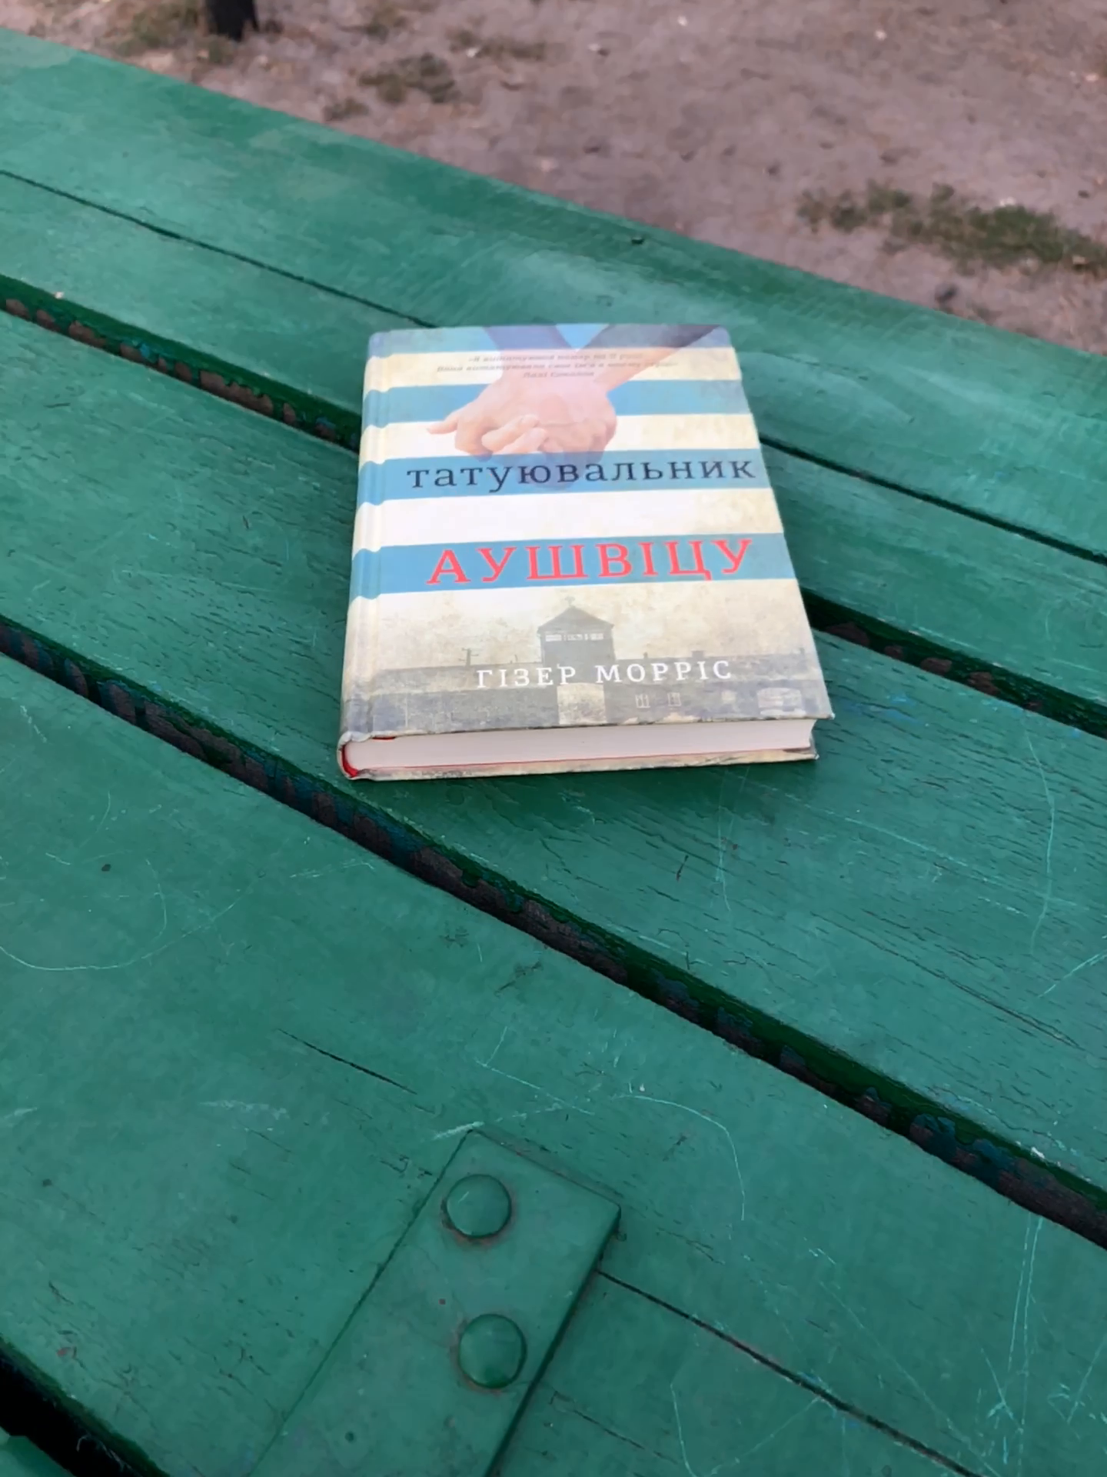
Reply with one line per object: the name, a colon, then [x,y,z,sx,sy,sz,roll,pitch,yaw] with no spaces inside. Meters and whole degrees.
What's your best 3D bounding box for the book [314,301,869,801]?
book: [0.004,-0.077,0.414,0.151,0.025,0.219,-3,49,-3]
